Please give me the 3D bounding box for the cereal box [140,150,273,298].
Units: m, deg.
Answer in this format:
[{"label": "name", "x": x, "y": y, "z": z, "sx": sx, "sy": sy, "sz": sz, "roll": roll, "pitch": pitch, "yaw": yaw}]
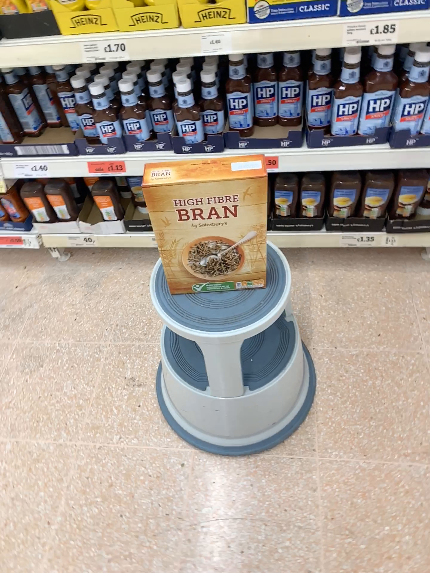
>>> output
[{"label": "cereal box", "x": 0.000, "y": -0.095, "z": 0.784, "sx": 0.200, "sy": 0.278, "sz": 0.061, "roll": -4, "pitch": 50, "yaw": 4}]
